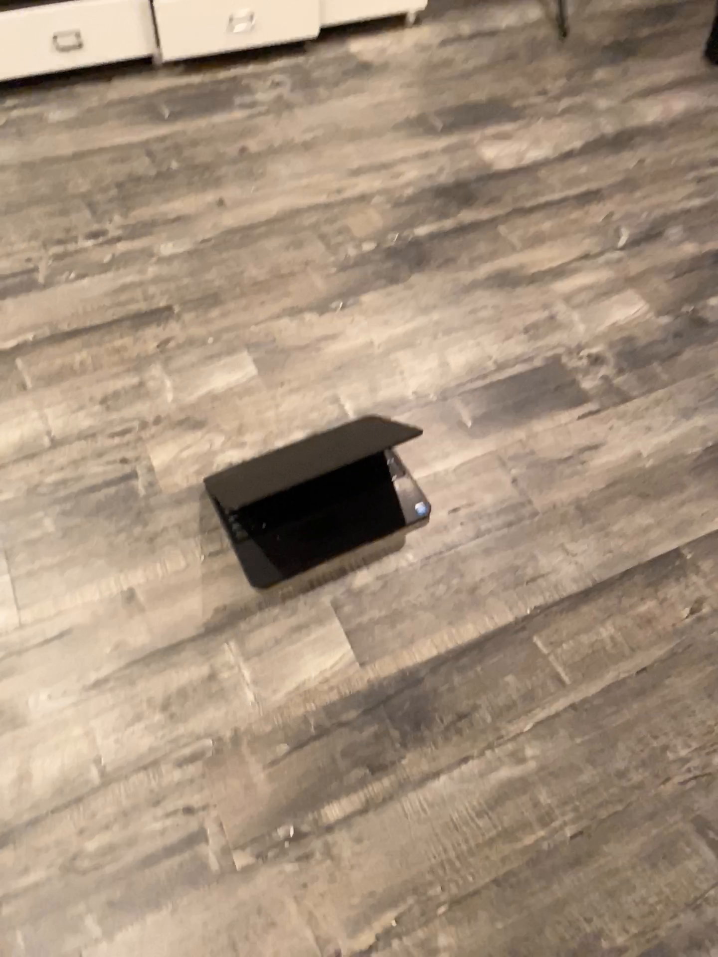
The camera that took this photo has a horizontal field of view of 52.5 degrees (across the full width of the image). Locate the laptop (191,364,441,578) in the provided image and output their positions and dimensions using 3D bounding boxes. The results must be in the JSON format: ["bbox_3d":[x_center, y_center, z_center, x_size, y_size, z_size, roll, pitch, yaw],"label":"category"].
[{"bbox_3d":[-0.078,-0.019,1.305,0.353,0.170,0.231,-22,59,-17],"label":"laptop"}]
